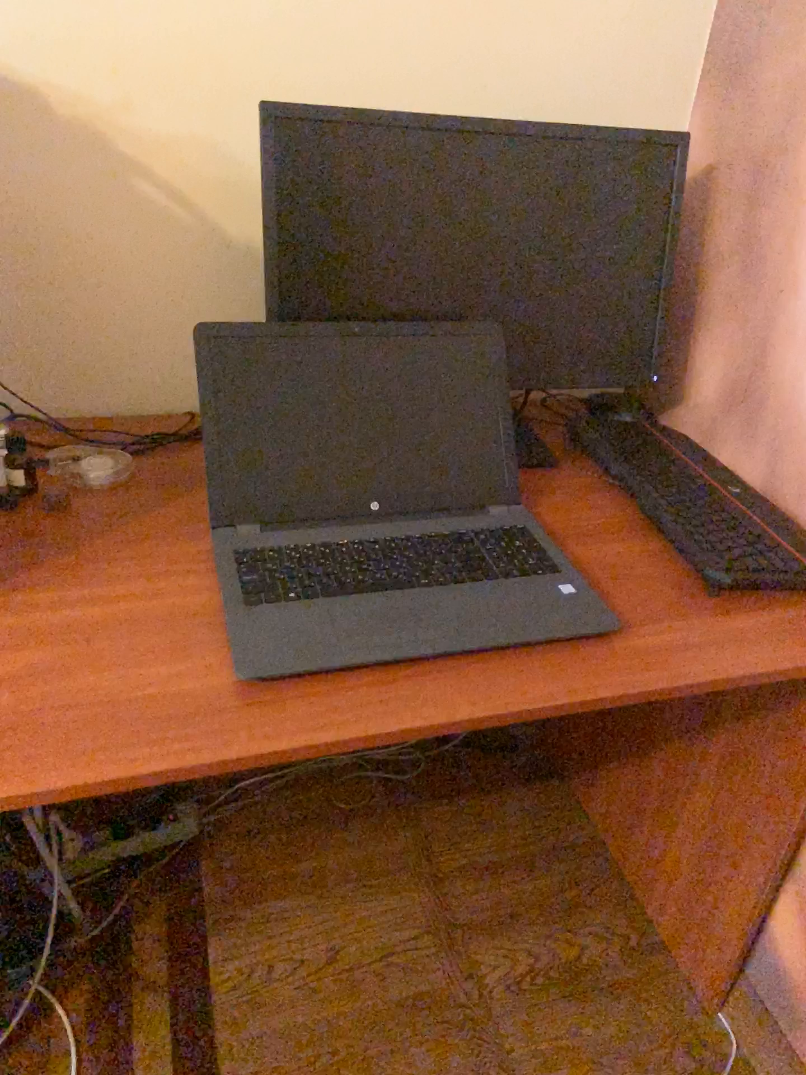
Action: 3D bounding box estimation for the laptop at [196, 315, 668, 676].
[{"bbox_3d":[-0.008,-0.078,0.843,0.366,0.181,0.376,-5,33,-16],"label":"laptop"}]
